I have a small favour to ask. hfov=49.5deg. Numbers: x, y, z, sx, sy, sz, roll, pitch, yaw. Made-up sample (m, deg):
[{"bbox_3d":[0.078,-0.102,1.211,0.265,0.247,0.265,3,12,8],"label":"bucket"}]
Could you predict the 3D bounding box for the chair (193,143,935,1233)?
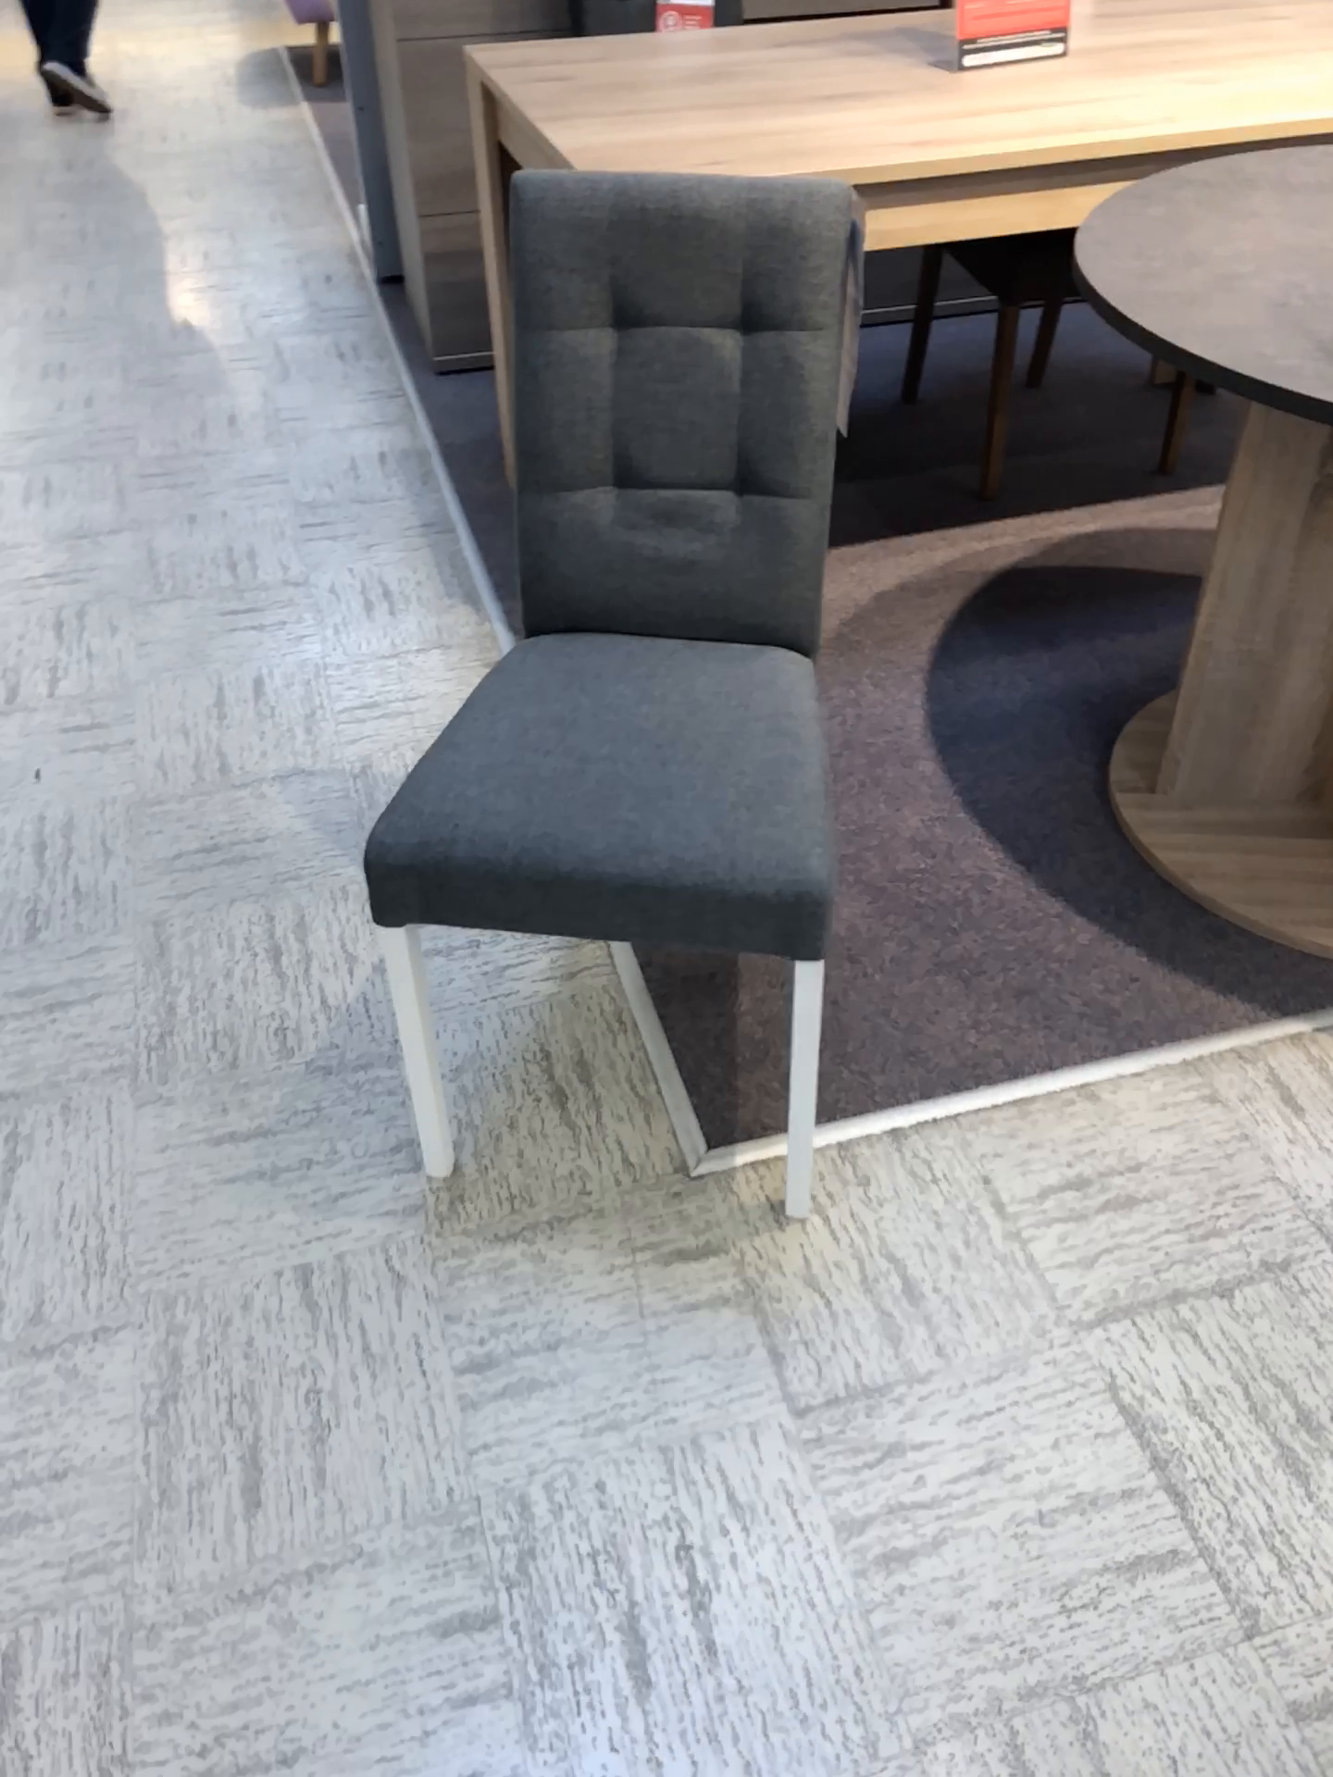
[{"bbox_3d":[-0.024,-0.189,1.395,0.460,0.825,0.584,6,40,8],"label":"chair"}]
